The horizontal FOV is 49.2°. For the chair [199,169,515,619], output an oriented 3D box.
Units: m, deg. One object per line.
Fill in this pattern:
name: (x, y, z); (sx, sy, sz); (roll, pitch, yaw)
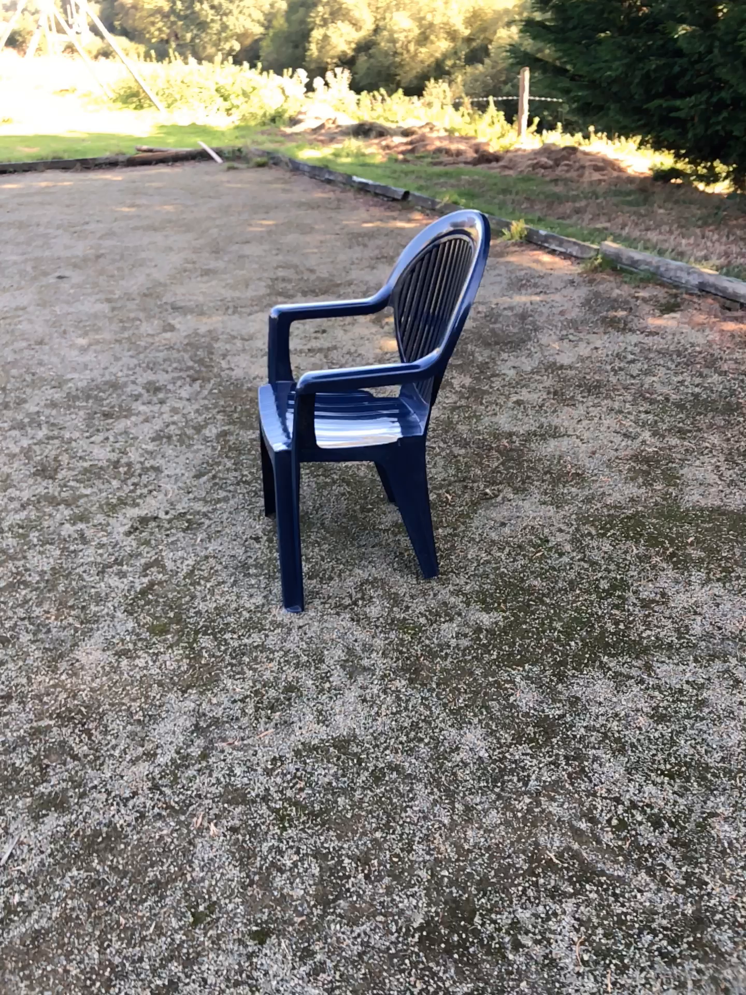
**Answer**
chair: (-0.056, -0.278, 1.971); (0.571, 0.855, 0.593); (-9, 30, -11)
